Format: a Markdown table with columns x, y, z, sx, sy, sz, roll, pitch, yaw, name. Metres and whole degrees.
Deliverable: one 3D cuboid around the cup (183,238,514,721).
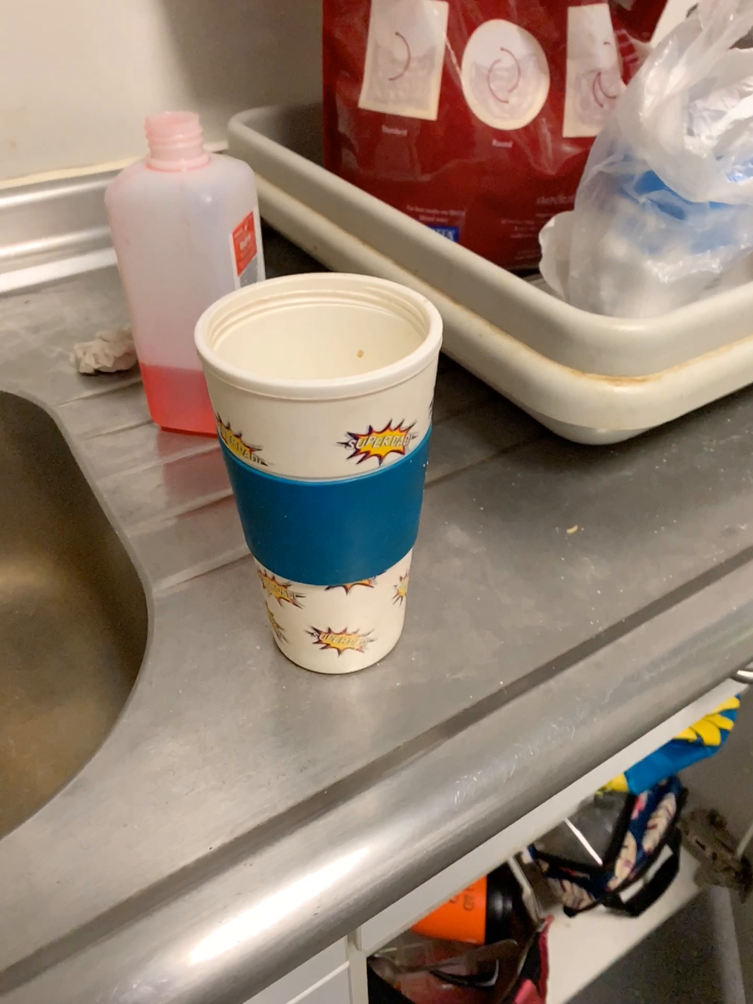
| x | y | z | sx | sy | sz | roll | pitch | yaw | name |
| --- | --- | --- | --- | --- | --- | --- | --- | --- | --- |
| -0.012 | -0.009 | 0.336 | 0.089 | 0.167 | 0.093 | -1 | 38 | 0 | cup |
